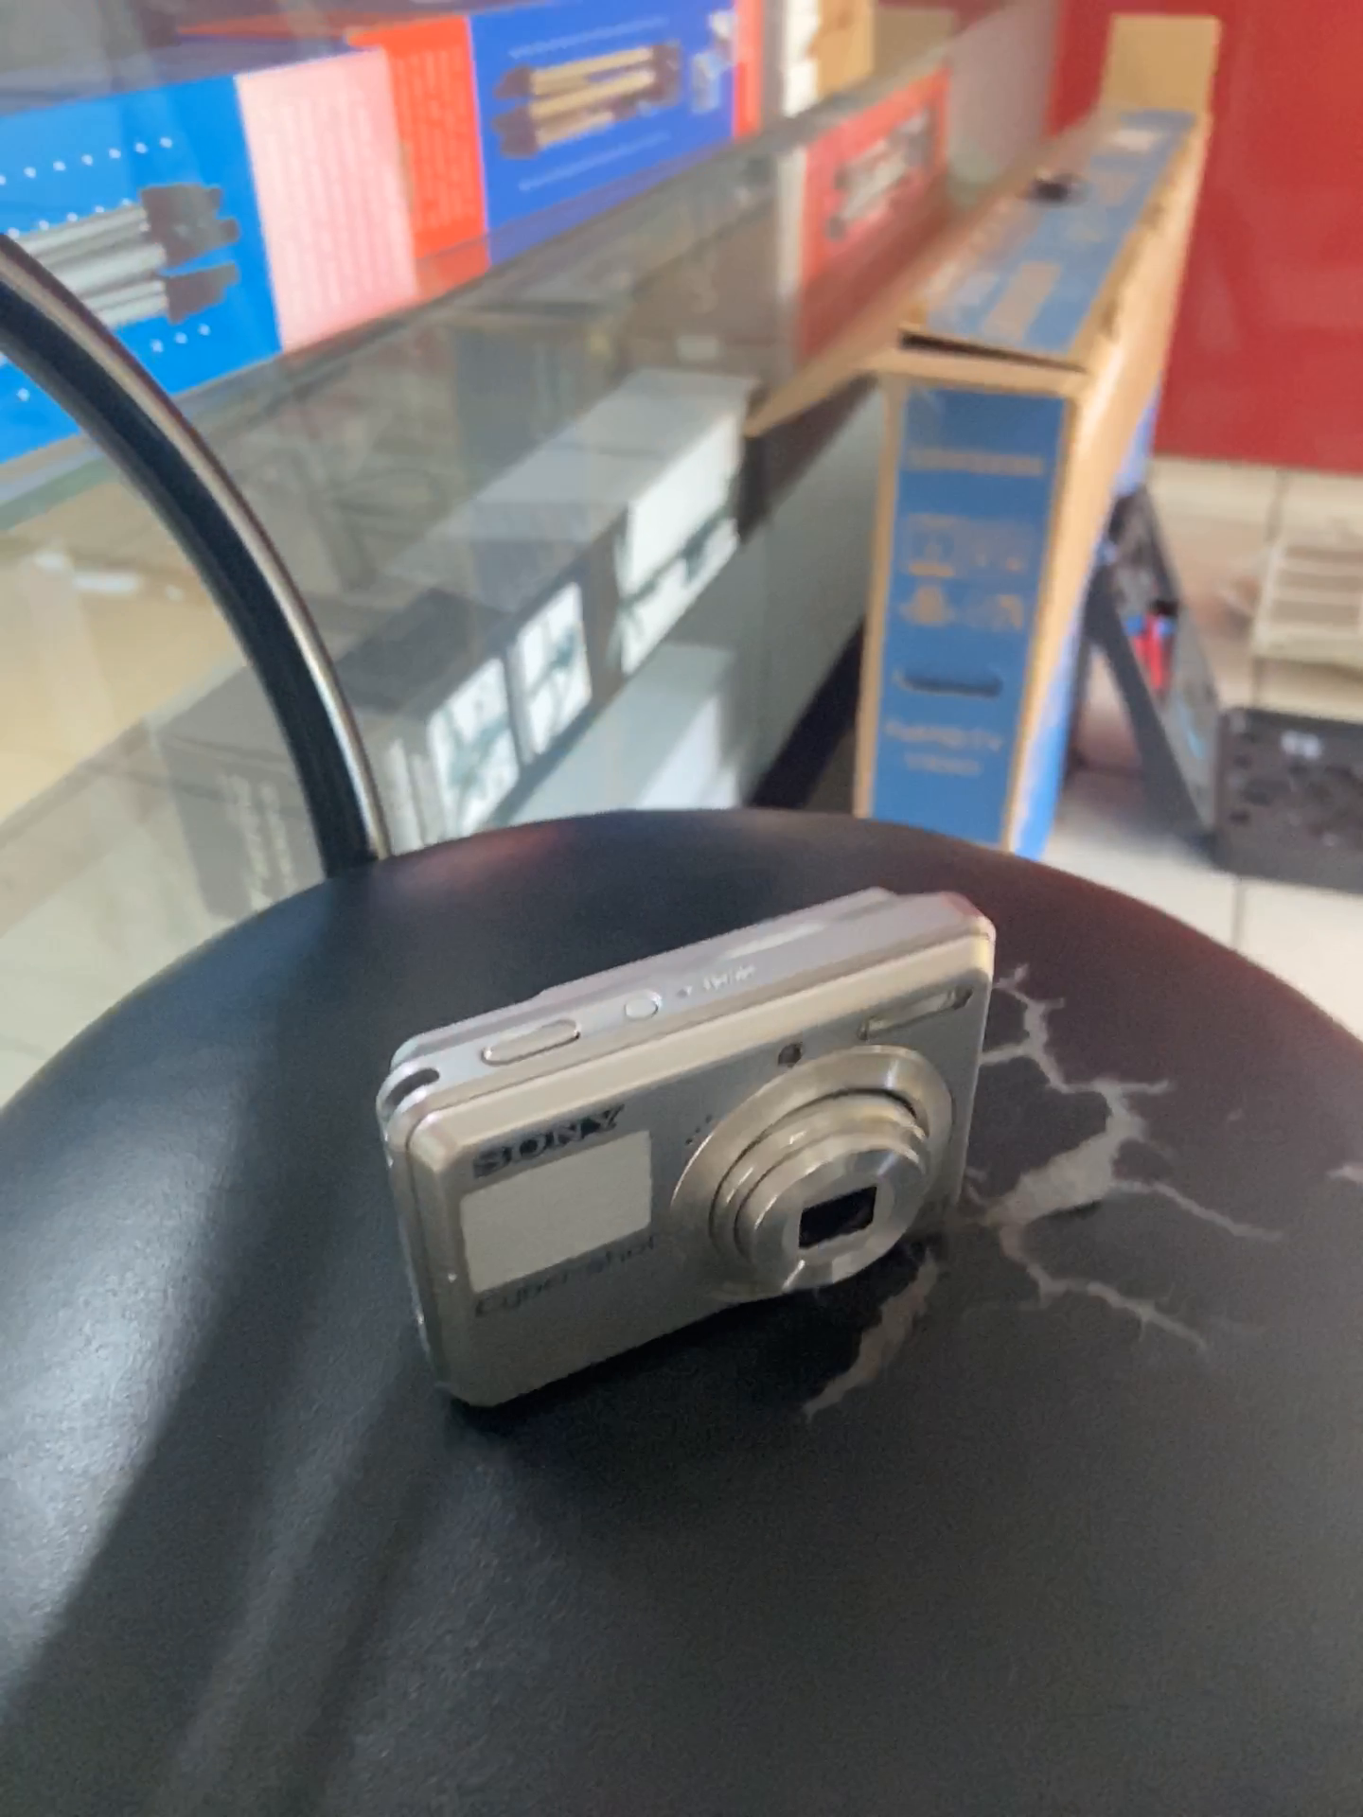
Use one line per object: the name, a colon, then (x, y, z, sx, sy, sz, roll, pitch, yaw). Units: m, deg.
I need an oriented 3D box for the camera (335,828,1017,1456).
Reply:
camera: (0.000, 0.031, 0.205, 0.083, 0.057, 0.035, -16, 39, -20)
